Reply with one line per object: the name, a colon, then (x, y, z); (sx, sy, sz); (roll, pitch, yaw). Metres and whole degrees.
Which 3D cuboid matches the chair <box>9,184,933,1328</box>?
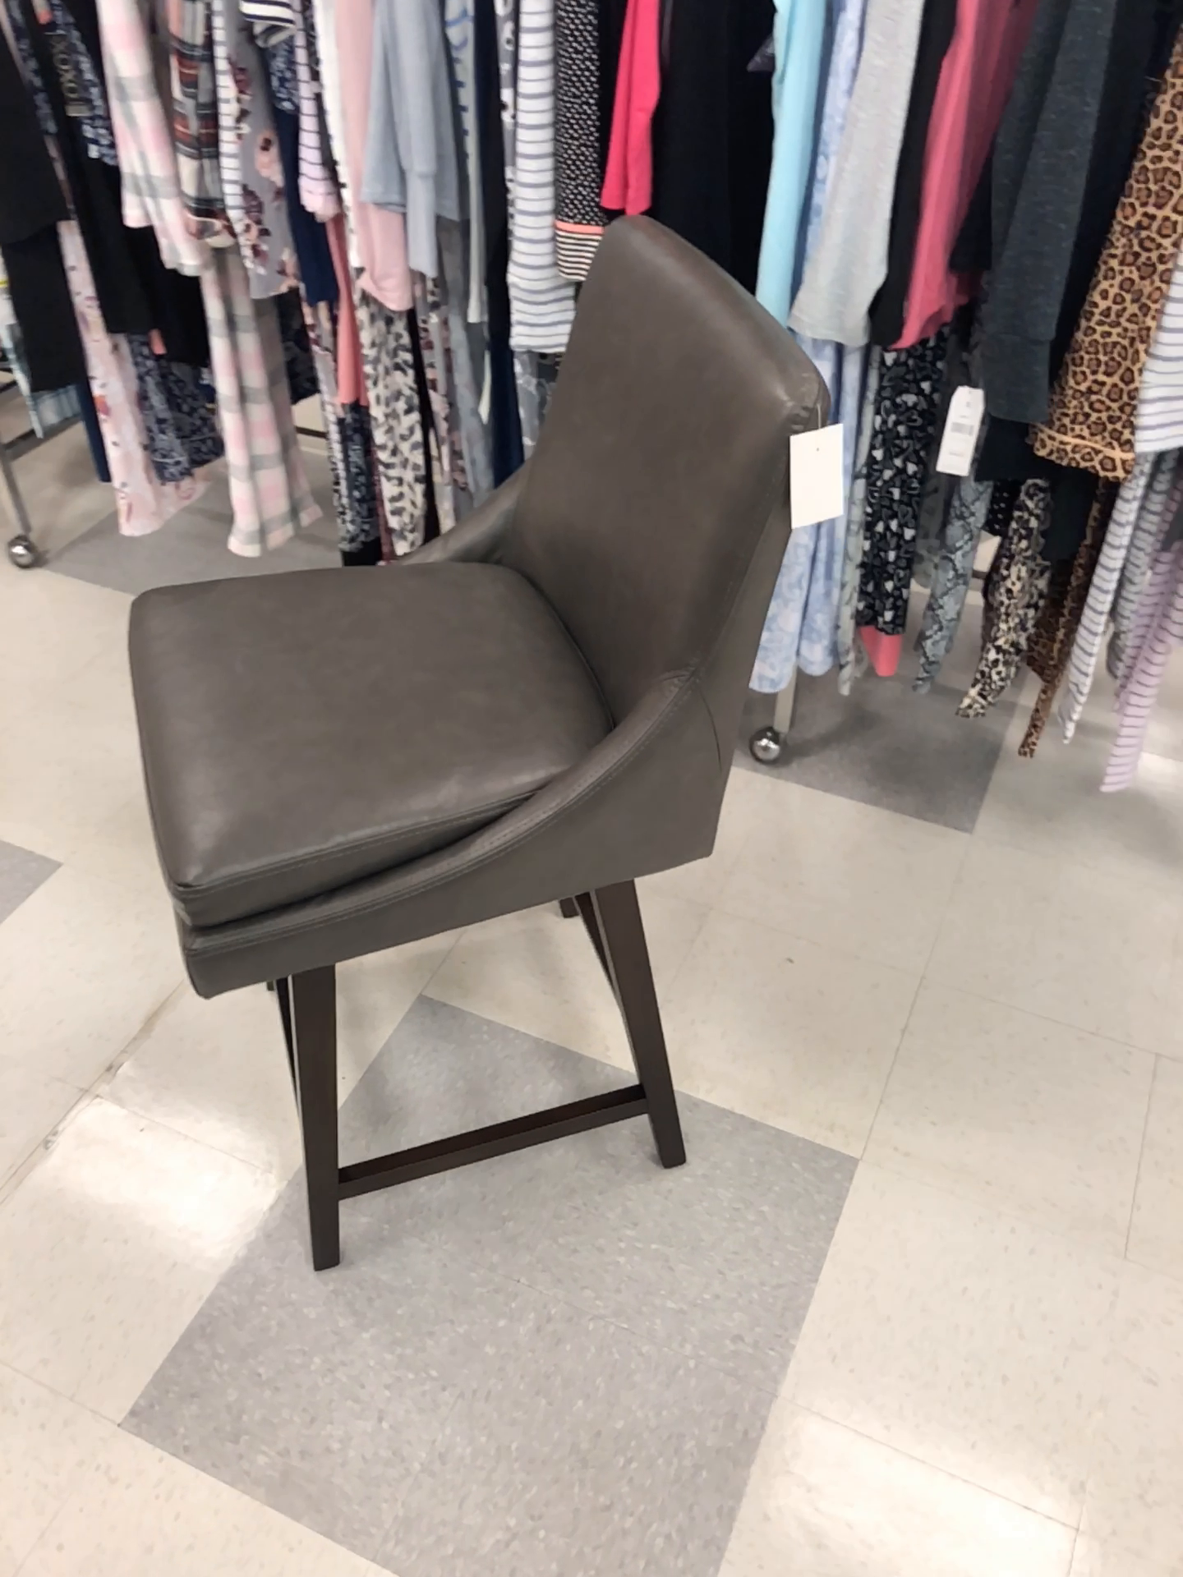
chair: (-0.123, -0.002, 1.273); (0.579, 0.917, 0.494); (-13, 44, -13)
